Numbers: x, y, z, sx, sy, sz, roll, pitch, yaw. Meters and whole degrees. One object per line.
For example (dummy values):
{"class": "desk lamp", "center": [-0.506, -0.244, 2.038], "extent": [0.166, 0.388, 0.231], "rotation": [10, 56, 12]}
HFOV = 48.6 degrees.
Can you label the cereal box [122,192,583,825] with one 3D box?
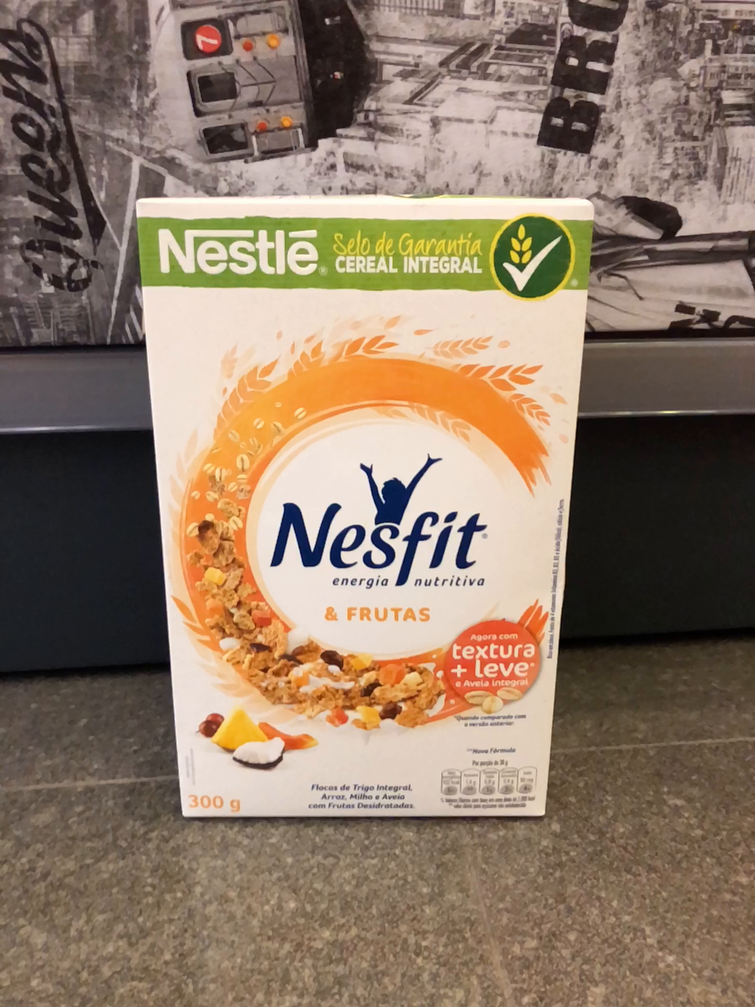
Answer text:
{"class": "cereal box", "center": [-0.008, 0.005, 0.345], "extent": [0.150, 0.248, 0.070], "rotation": [-1, 19, 0]}
